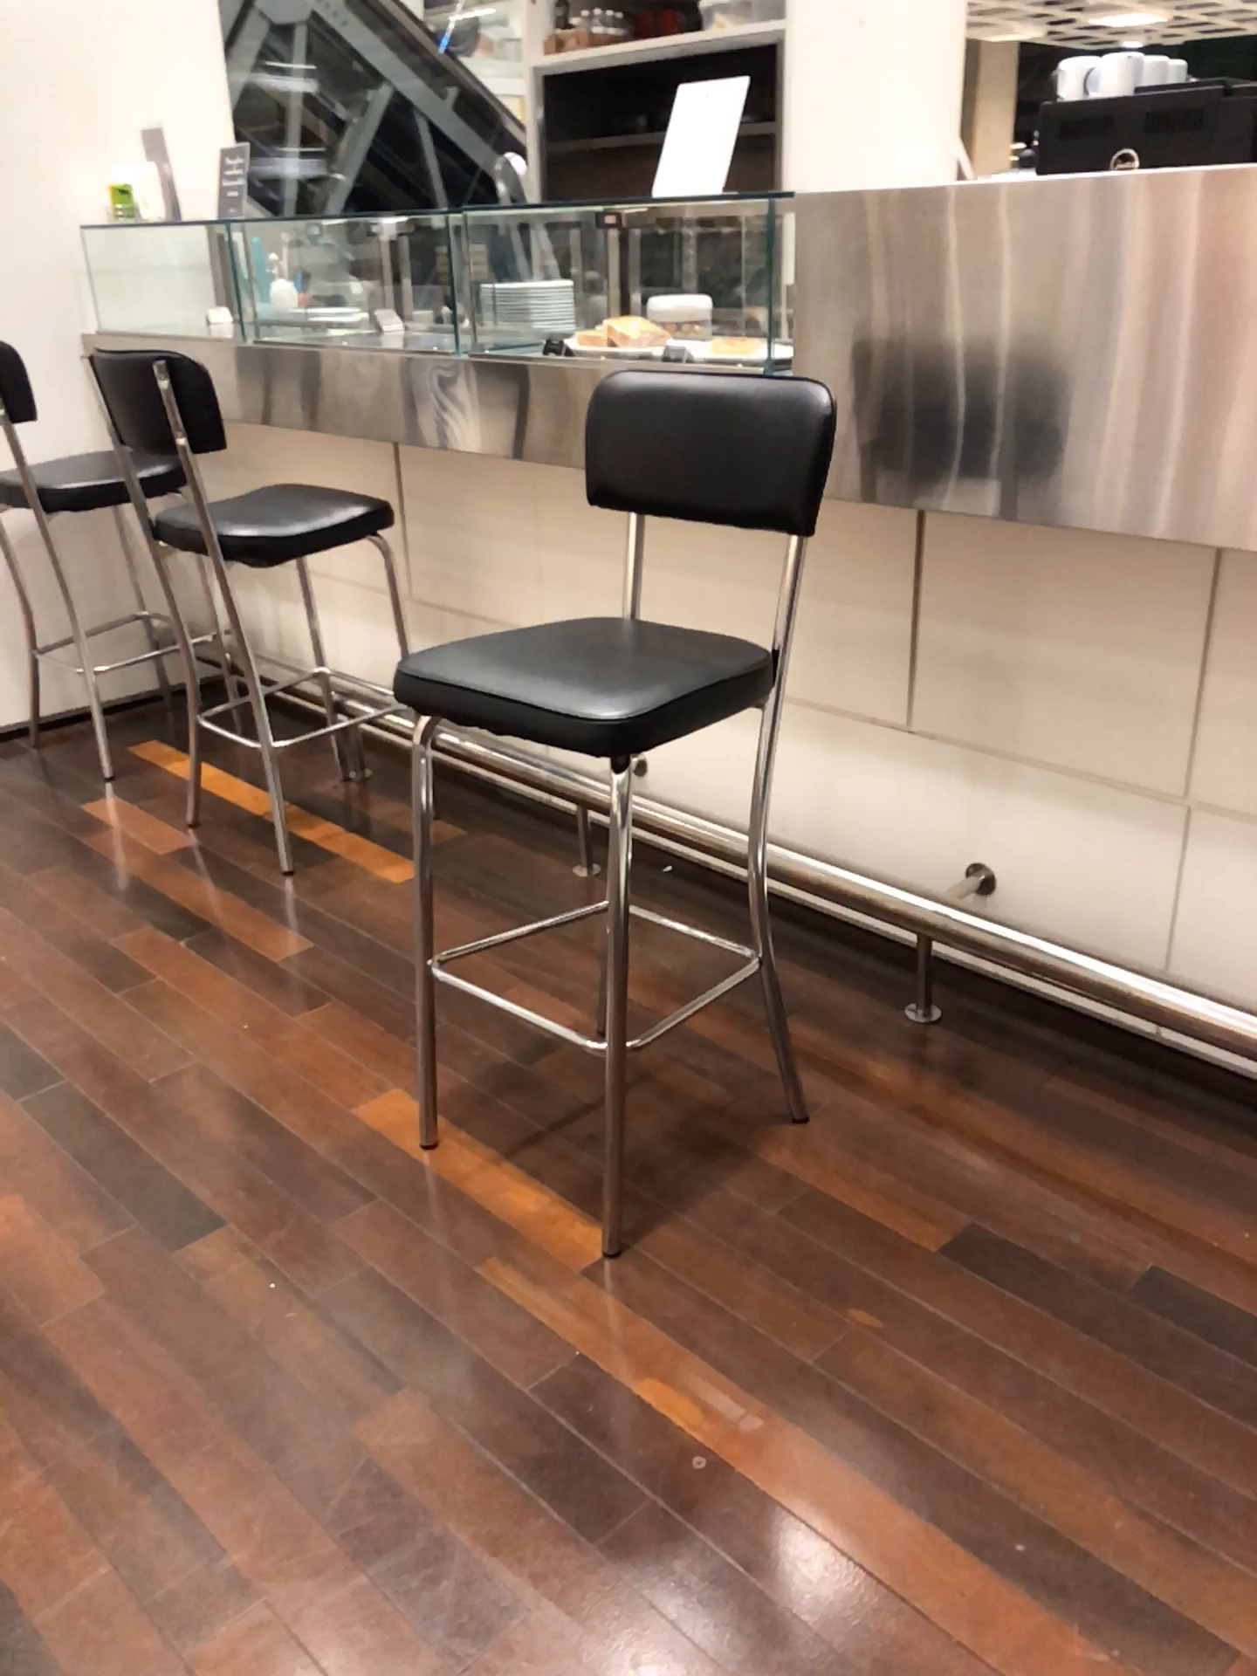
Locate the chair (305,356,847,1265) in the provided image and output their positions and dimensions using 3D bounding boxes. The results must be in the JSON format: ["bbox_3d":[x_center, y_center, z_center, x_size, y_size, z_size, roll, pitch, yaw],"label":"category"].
[{"bbox_3d":[-0.041,-0.070,1.795,0.421,1.013,0.472,18,29,39],"label":"chair"}]
